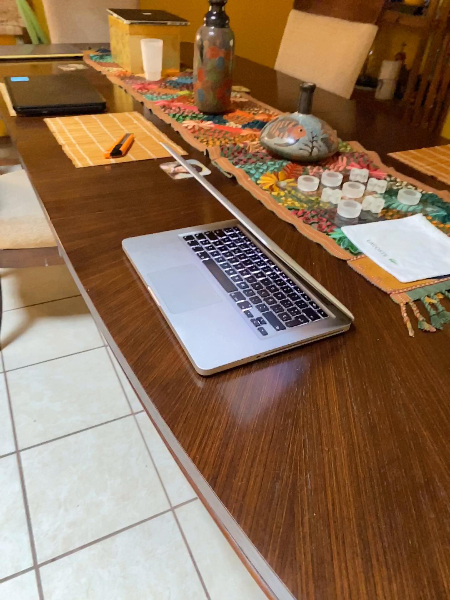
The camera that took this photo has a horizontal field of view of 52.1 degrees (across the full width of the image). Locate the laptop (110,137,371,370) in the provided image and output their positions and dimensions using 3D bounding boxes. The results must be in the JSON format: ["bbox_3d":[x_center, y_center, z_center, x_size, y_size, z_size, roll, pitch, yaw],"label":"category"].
[{"bbox_3d":[-0.004,-0.093,0.652,0.213,0.152,0.323,-15,41,-24],"label":"laptop"}]
